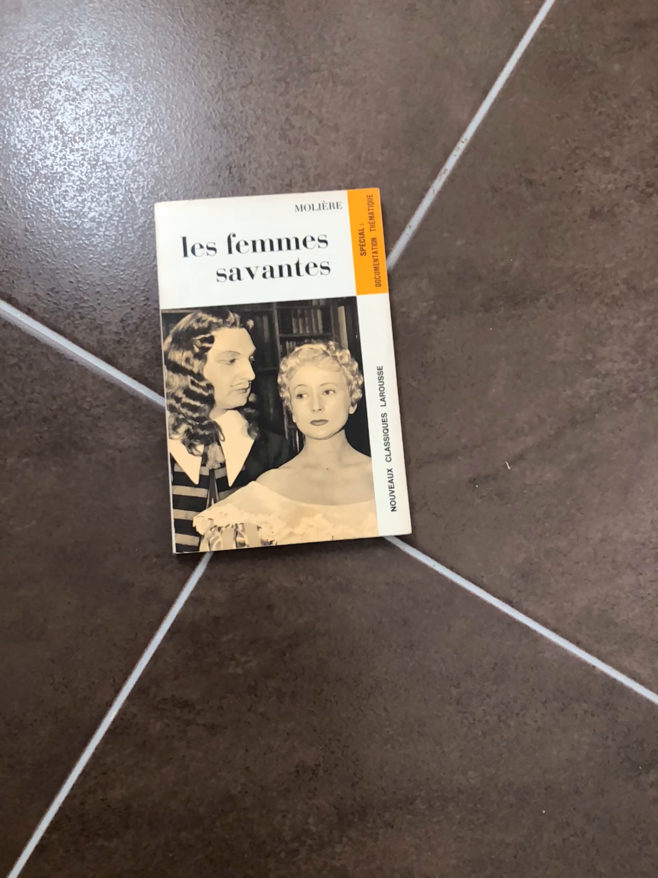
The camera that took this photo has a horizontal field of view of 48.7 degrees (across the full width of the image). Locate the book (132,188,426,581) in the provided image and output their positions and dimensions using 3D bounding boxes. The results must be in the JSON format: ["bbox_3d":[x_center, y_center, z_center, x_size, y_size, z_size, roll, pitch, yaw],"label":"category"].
[{"bbox_3d":[-0.023,-0.026,0.338,0.120,0.020,0.170,-5,87,-3],"label":"book"}]
